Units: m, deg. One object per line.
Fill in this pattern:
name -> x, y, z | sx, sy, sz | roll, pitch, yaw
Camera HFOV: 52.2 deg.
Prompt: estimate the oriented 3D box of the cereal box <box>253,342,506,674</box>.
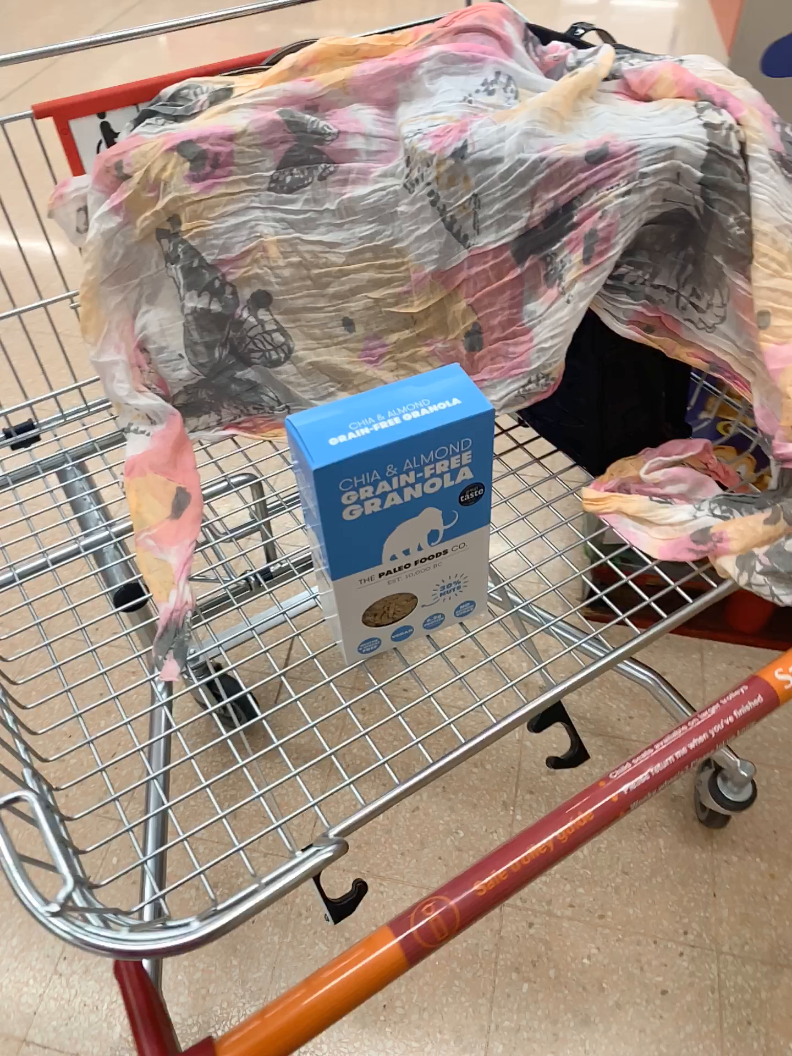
cereal box -> -0.007, -0.006, 0.560 | 0.140, 0.208, 0.060 | -19, 48, -16
